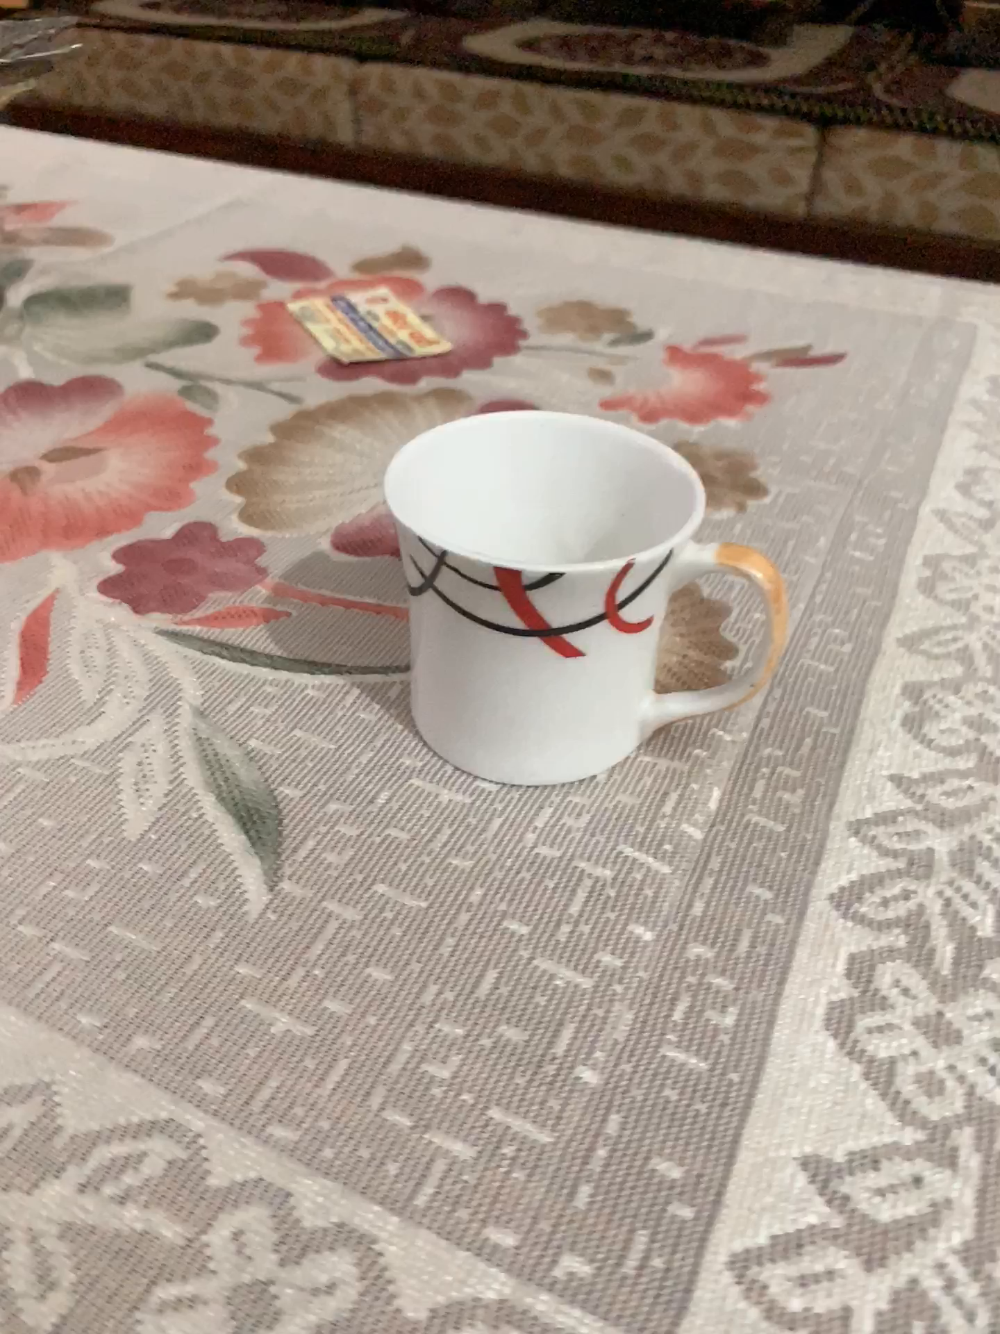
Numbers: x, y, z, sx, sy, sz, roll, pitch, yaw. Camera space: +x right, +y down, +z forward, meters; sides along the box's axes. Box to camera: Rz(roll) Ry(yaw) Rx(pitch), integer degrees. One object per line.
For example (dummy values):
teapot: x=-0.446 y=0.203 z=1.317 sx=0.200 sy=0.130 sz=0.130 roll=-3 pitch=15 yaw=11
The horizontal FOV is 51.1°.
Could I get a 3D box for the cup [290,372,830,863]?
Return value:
cup: x=0.015 y=-0.015 z=0.225 sx=0.090 sy=0.060 sz=0.070 roll=13 pitch=40 yaw=15
